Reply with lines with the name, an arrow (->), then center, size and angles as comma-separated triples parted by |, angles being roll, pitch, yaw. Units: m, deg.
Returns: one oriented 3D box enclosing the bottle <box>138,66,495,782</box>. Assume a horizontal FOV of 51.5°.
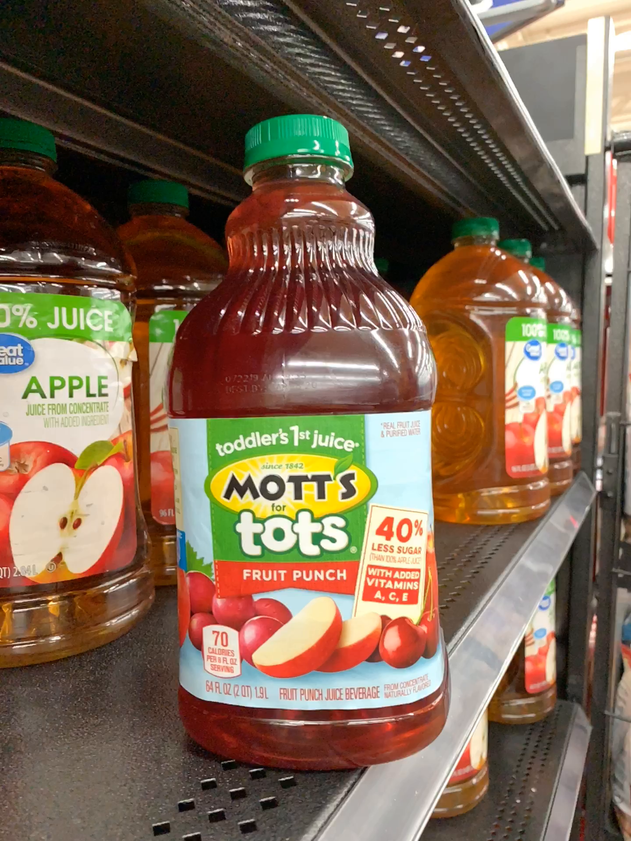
bottle -> -0.001, 0.001, 0.284 | 0.120, 0.250, 0.110 | 0, 4, 0
